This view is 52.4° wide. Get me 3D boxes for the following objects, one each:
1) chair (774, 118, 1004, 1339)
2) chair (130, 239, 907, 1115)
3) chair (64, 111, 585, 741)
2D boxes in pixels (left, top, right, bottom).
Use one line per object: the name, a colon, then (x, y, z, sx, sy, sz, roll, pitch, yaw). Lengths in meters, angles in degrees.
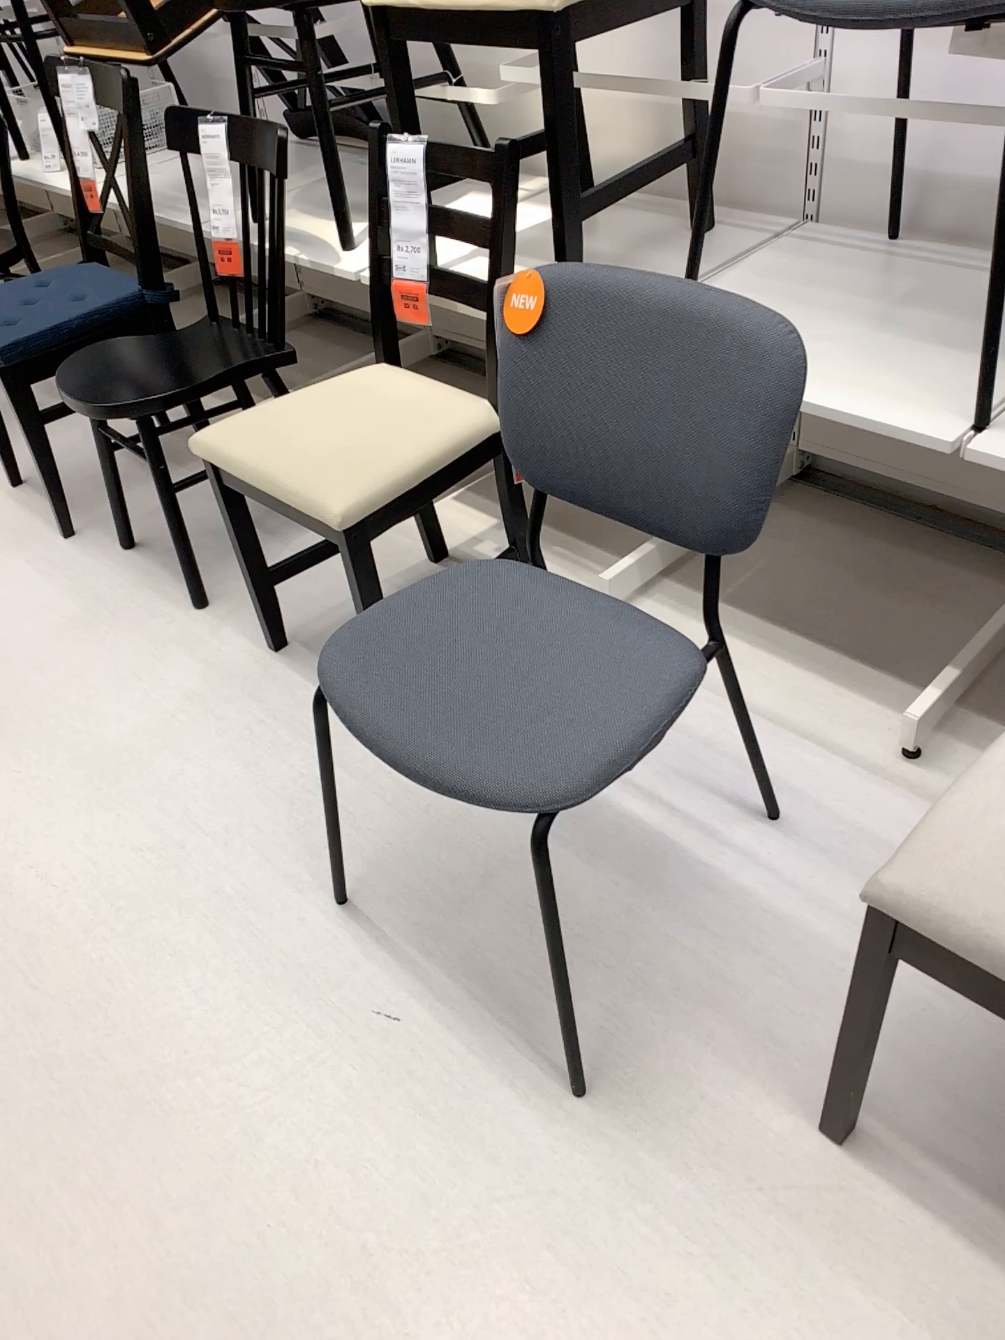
chair: (0.614, 0.130, 0.868, 0.481, 0.926, 0.531, 28, 52, 35)
chair: (0.058, -0.013, 1.267, 0.521, 0.757, 0.591, 28, 52, 35)
chair: (-0.240, -0.419, 1.741, 0.481, 0.807, 0.531, 29, 53, 36)
